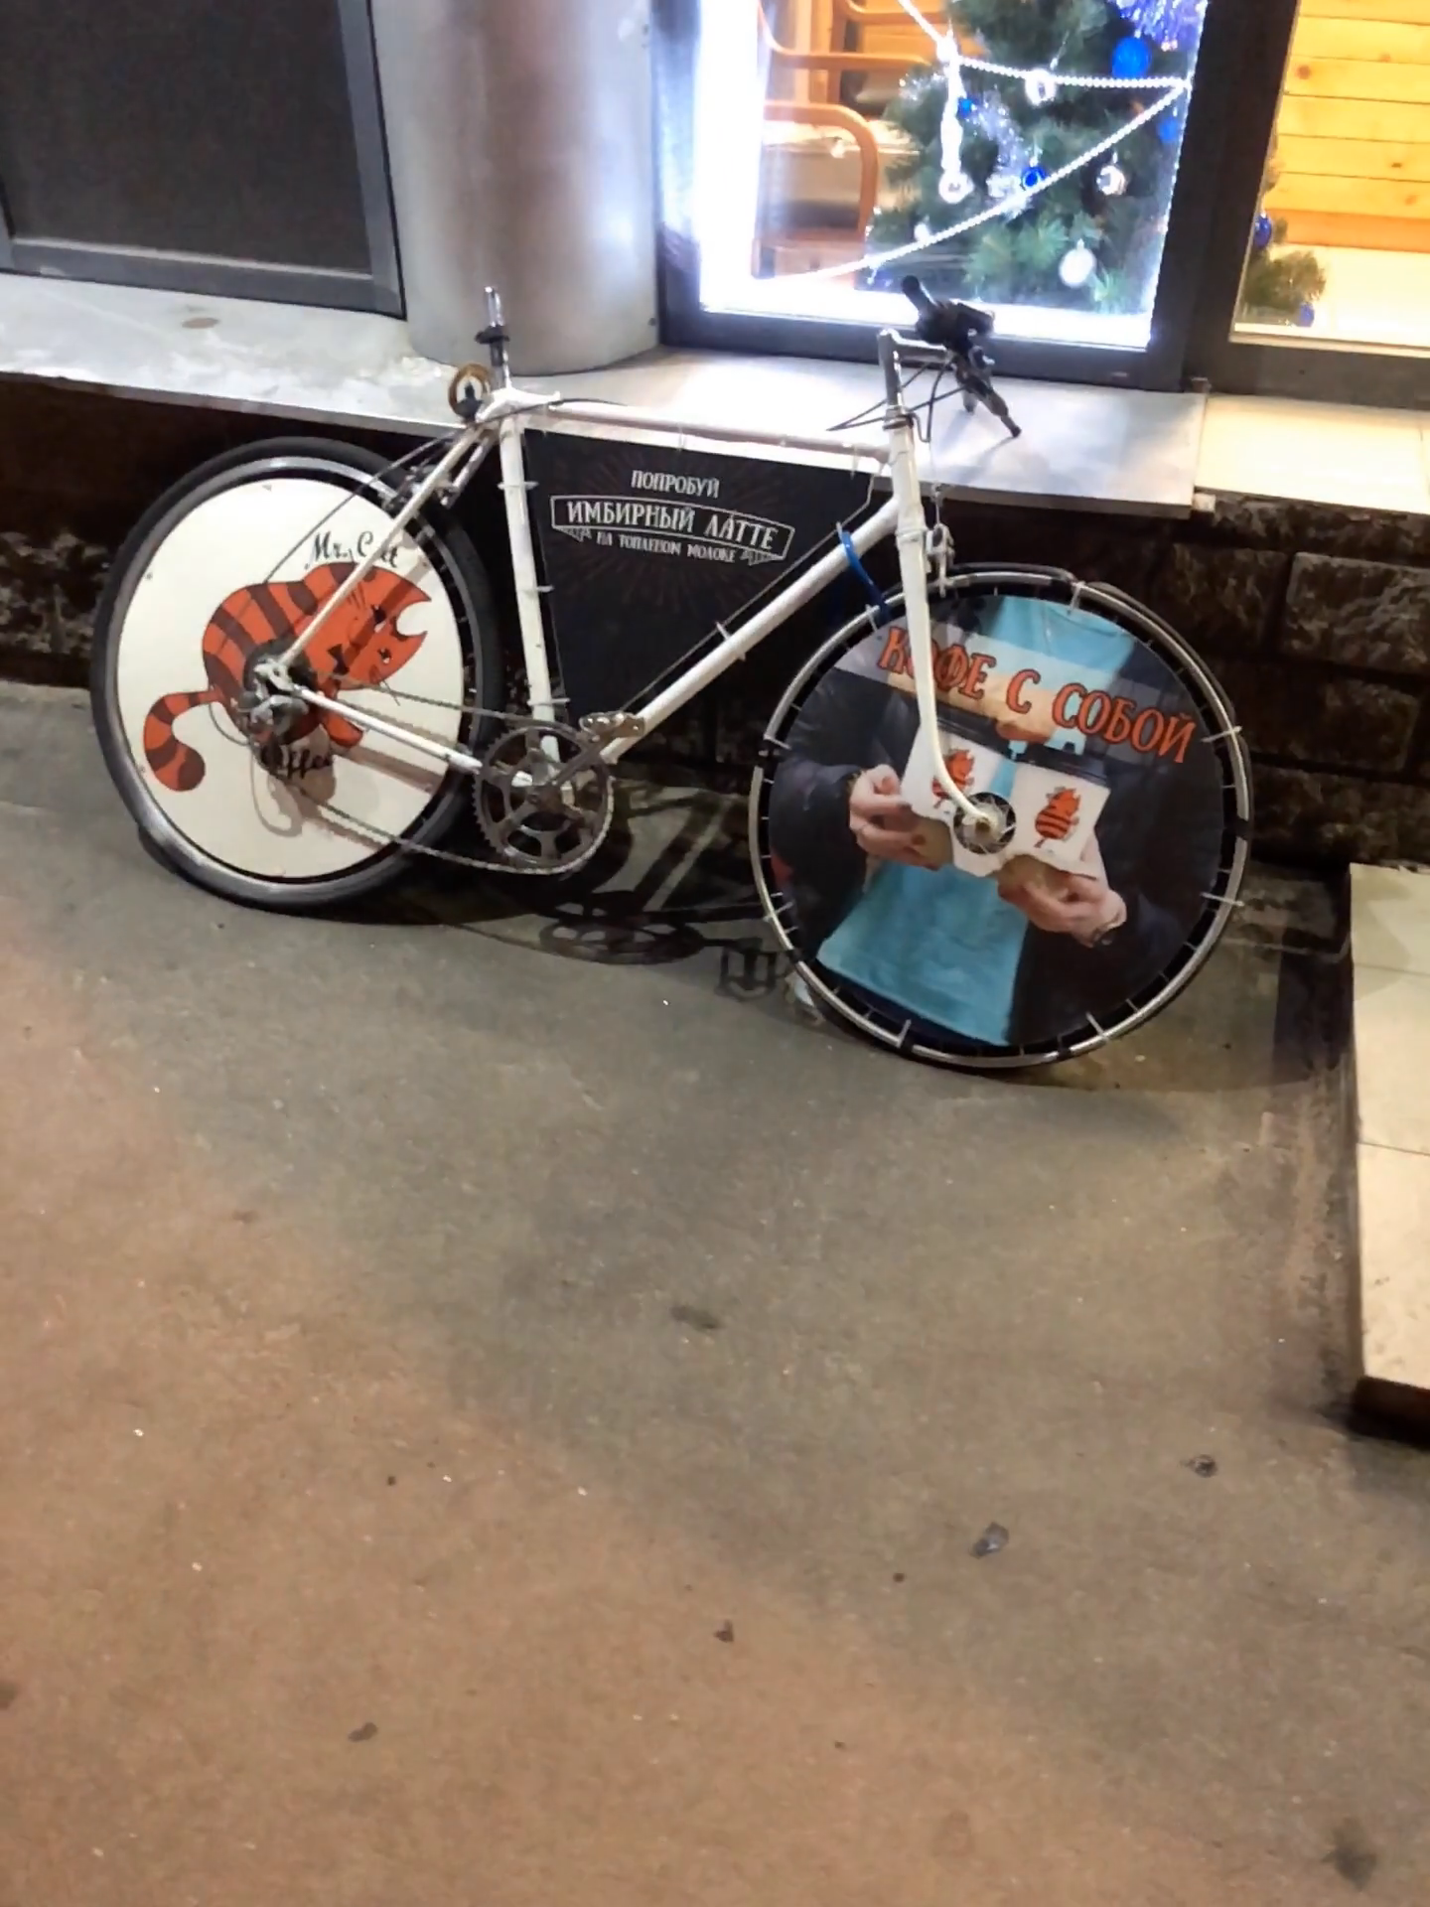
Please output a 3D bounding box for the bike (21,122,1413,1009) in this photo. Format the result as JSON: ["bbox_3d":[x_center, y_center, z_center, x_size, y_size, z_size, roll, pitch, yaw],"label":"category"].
[{"bbox_3d":[0.005,-0.590,2.213,1.586,0.916,0.572,11,39,15],"label":"bike"}]
